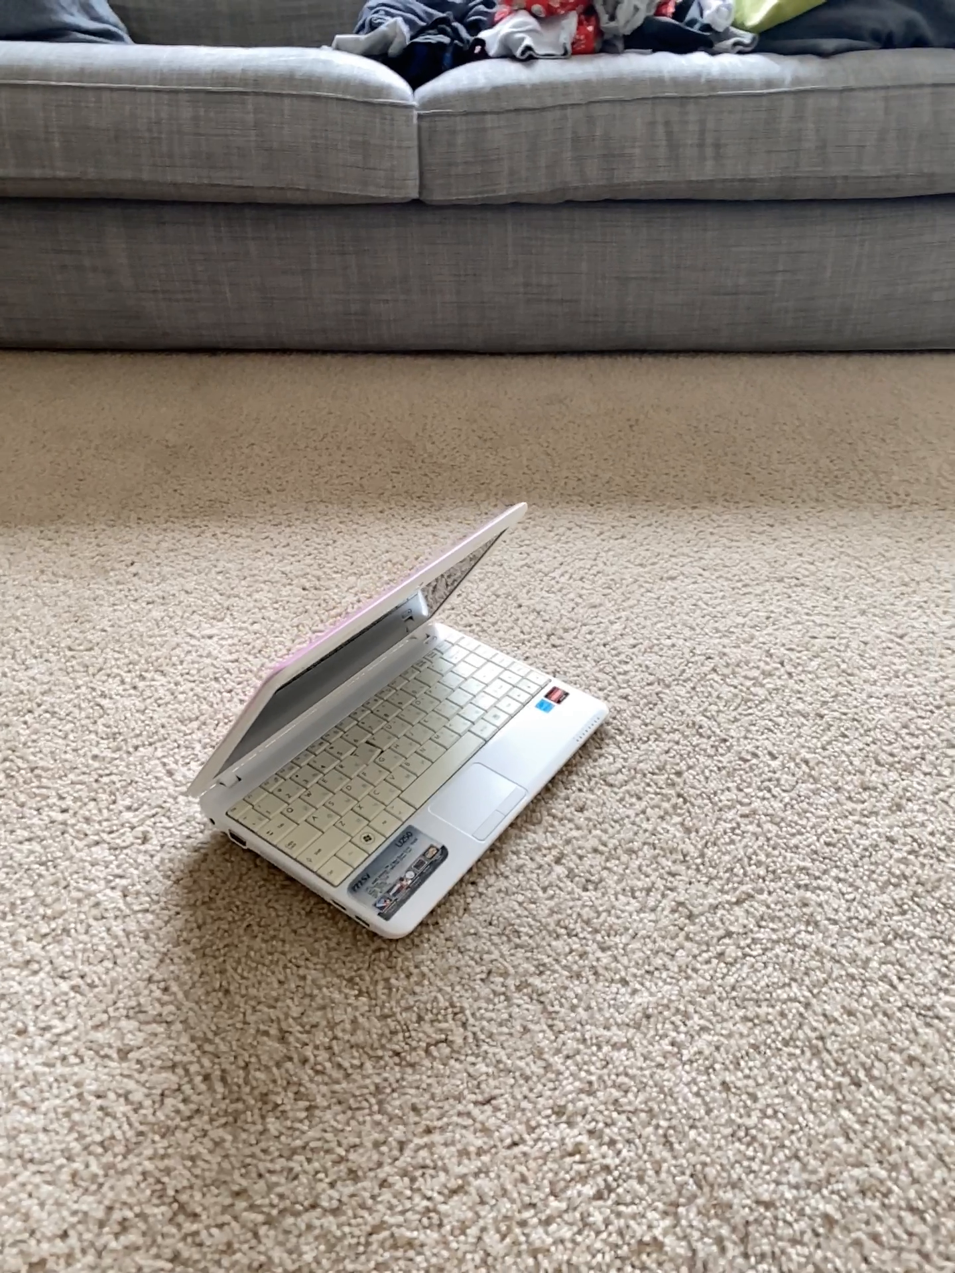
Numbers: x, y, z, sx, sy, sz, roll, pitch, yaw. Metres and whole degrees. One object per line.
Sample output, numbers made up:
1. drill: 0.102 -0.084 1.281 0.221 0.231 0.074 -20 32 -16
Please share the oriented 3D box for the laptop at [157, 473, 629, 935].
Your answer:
1. laptop: -0.045 0.027 0.714 0.188 0.147 0.287 24 41 26
